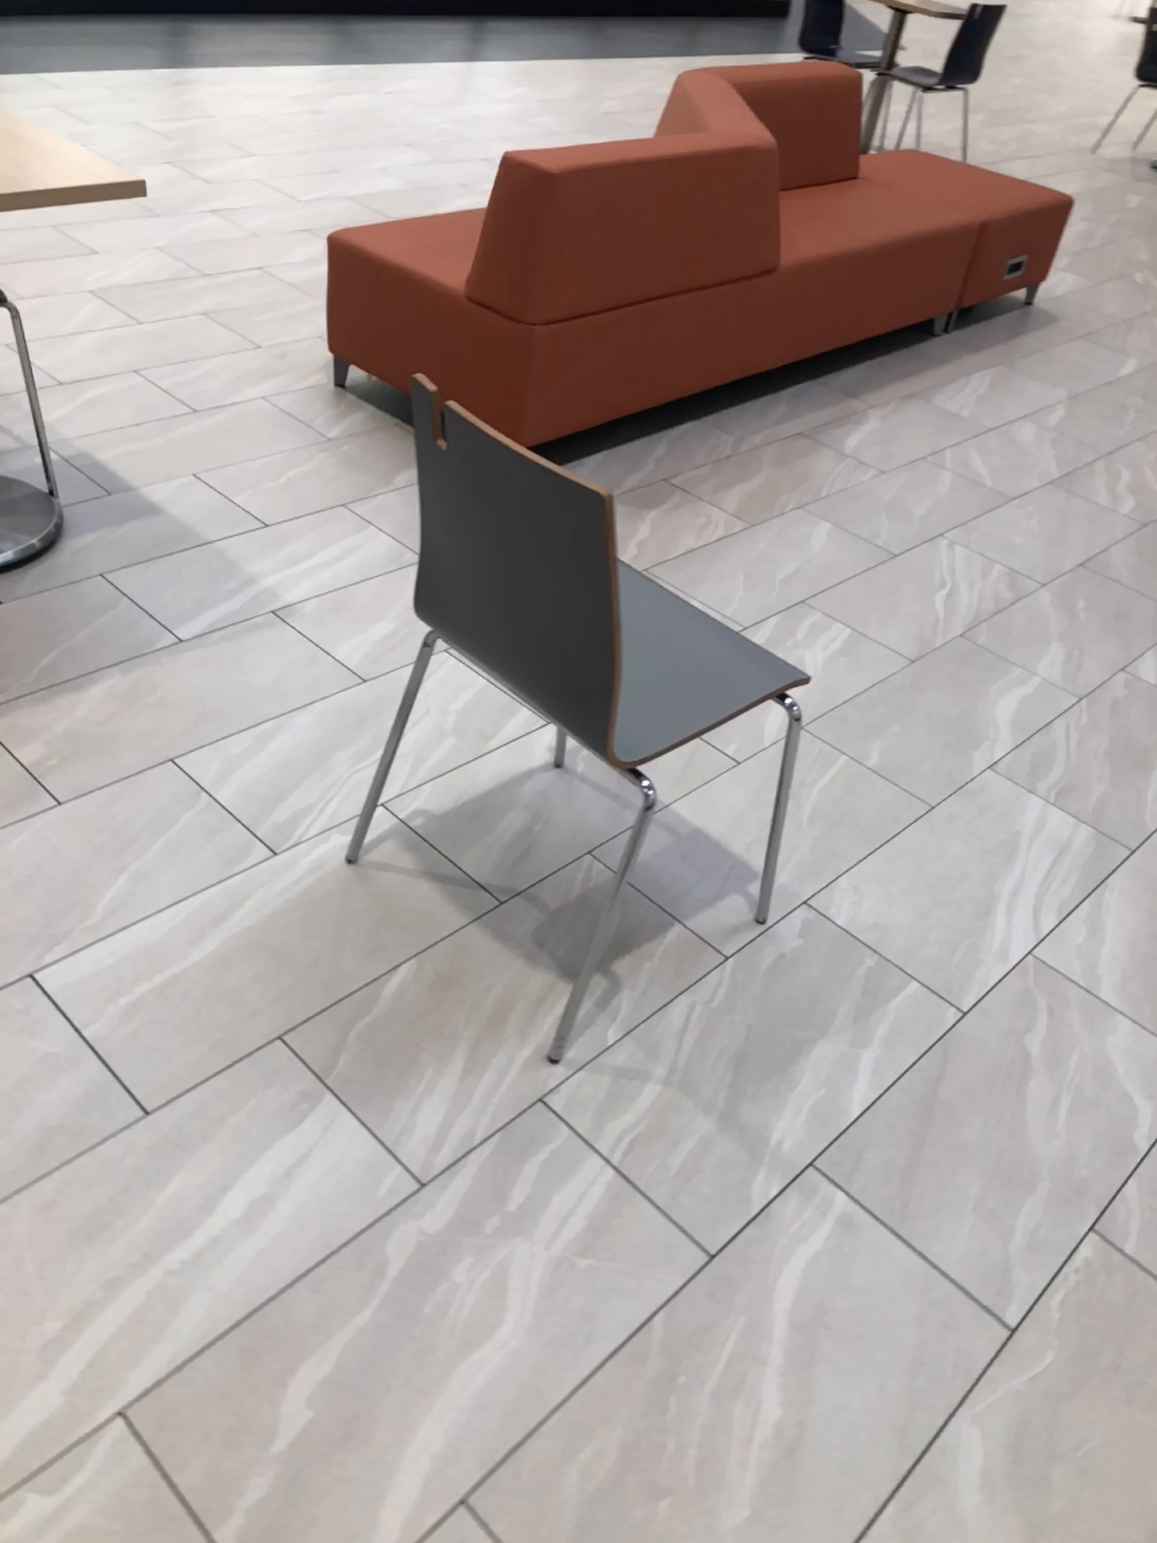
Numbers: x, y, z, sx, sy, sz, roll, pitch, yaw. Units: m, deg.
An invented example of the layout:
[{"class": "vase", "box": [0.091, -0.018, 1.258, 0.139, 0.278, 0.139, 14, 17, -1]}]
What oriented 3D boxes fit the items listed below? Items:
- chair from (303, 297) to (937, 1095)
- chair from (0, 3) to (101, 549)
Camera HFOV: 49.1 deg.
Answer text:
[{"class": "chair", "box": [0.003, -0.120, 1.685, 0.517, 0.787, 0.525, -26, 49, -38]}, {"class": "chair", "box": [-1.292, -0.935, 2.382, 0.515, 0.777, 0.537, -20, 45, -33]}]
